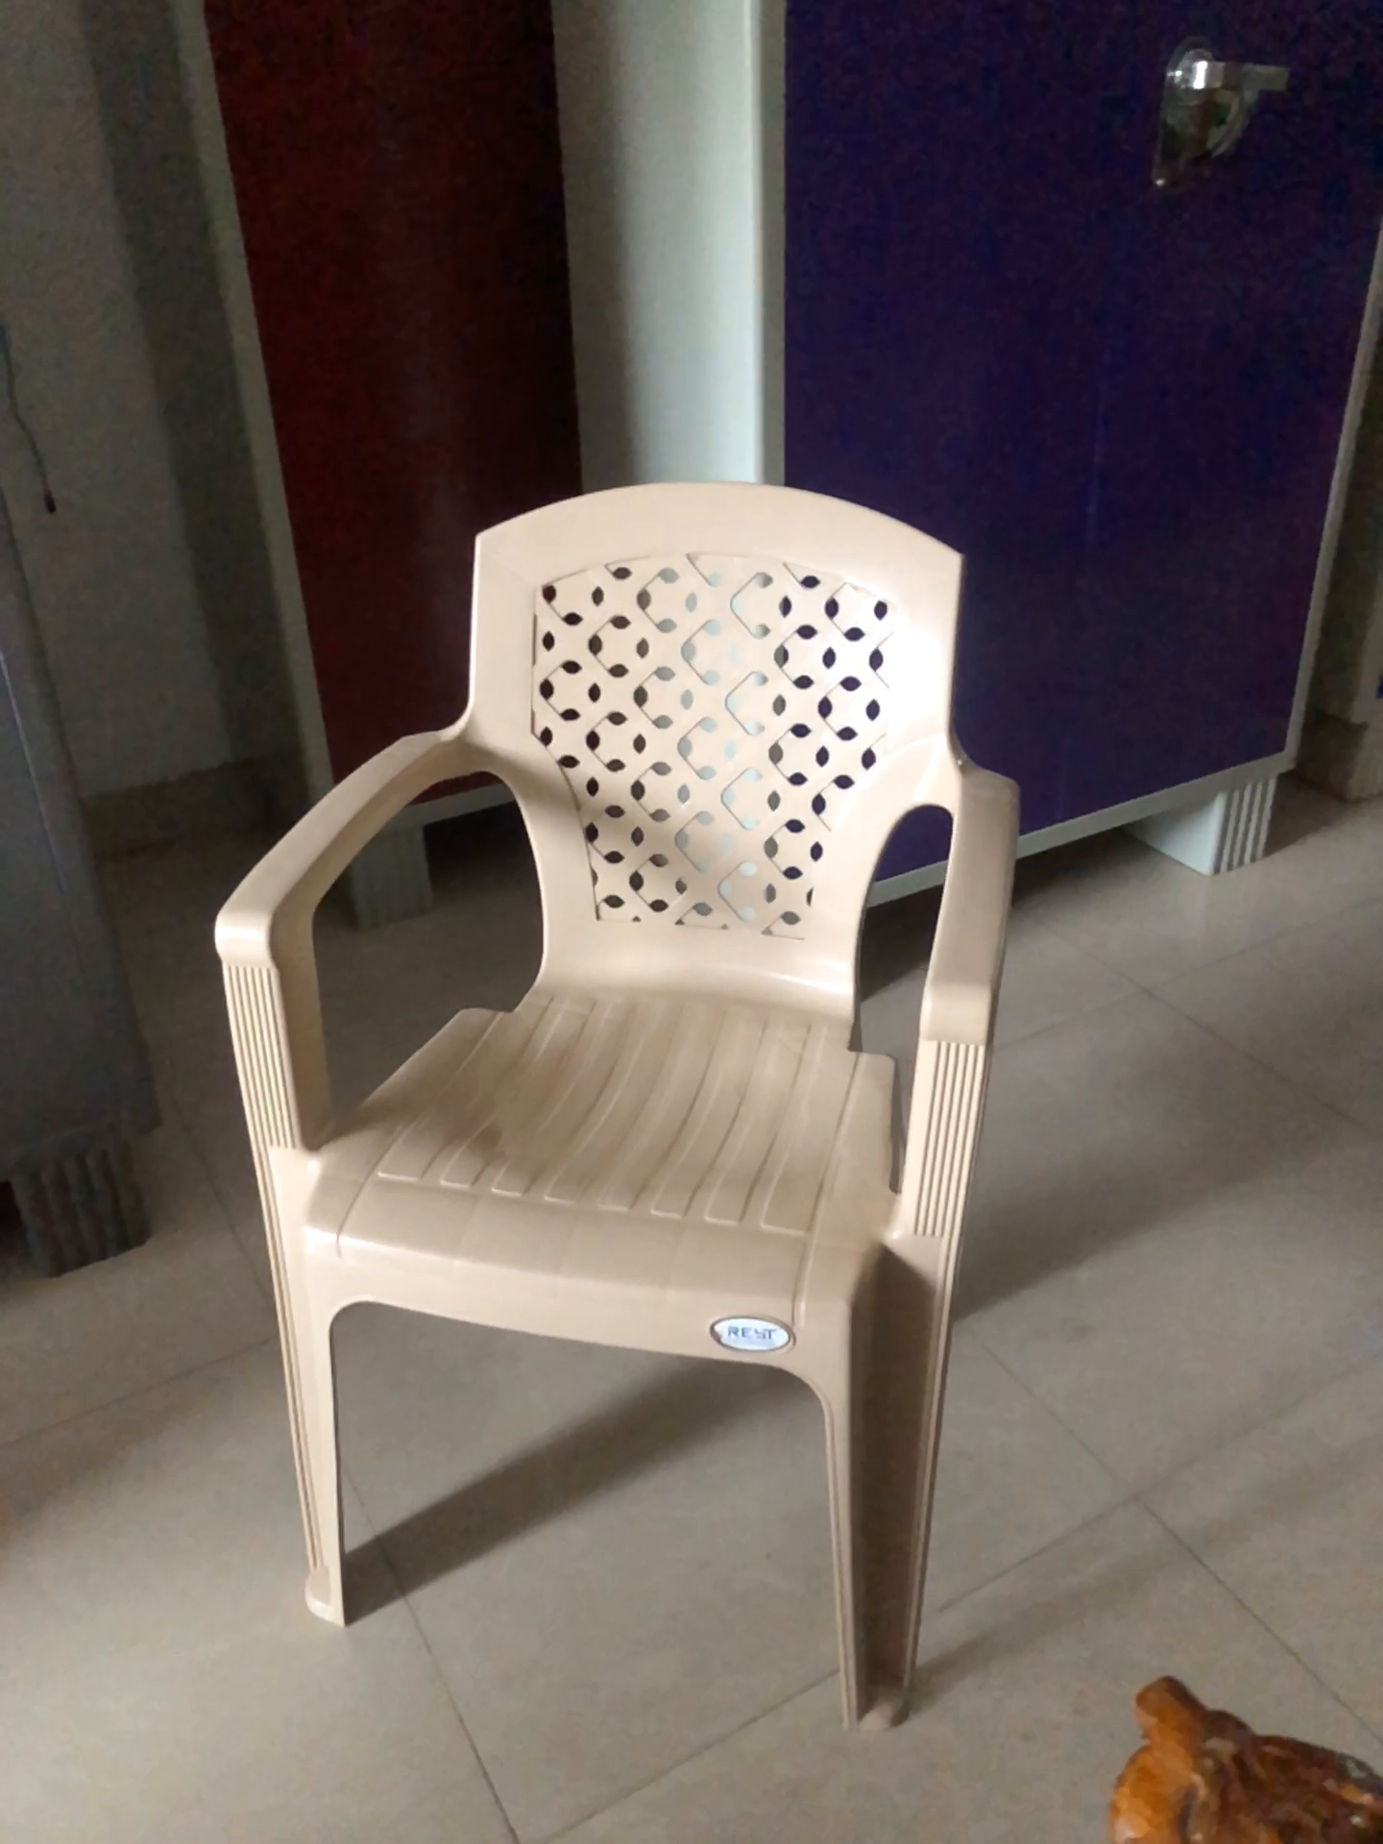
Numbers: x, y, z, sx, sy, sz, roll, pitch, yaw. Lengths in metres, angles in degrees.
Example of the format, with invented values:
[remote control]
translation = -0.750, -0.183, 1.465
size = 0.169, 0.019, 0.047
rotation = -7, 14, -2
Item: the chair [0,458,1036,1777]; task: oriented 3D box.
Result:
[chair]
translation = -0.044, 0.113, 1.191
size = 0.540, 0.796, 0.563
rotation = 5, 31, 13
